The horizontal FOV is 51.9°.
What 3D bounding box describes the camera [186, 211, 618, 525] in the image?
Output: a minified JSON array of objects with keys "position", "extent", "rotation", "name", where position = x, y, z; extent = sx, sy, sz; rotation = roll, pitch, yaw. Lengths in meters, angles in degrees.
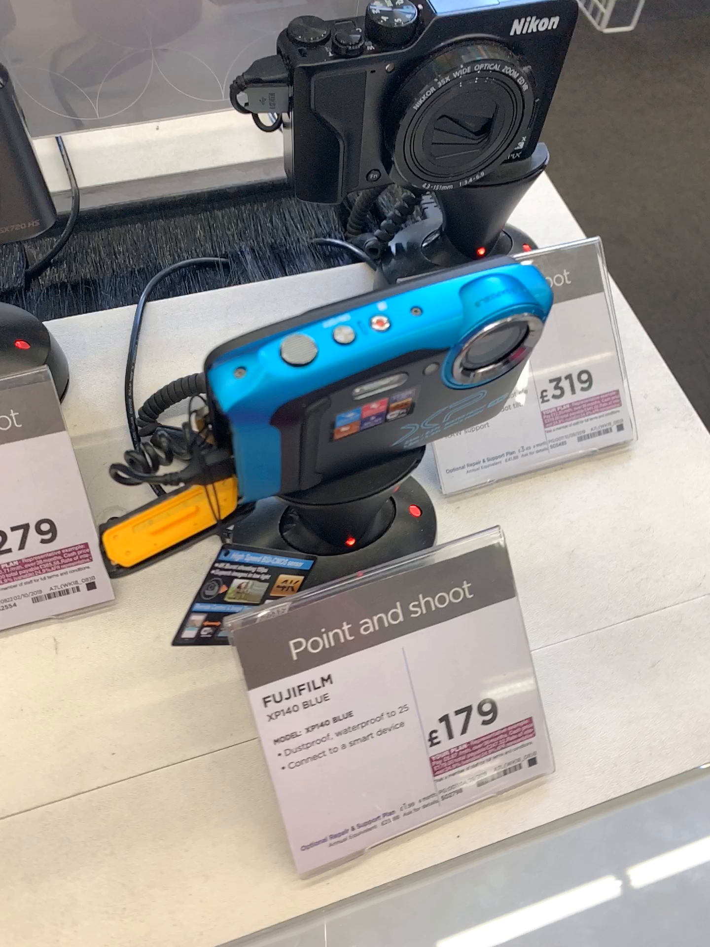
[{"position":[0.012,-0.030,0.213],"extent":[0.110,0.060,0.030],"rotation":[-20,64,-15],"name":"camera"}]
